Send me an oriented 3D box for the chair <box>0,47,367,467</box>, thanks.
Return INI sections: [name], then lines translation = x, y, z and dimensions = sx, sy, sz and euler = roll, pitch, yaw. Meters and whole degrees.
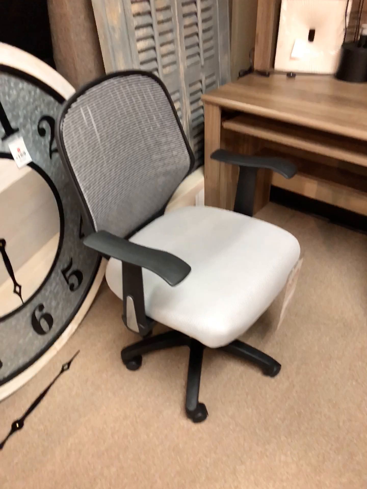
[chair]
translation = 0.030, -0.017, 1.173
dimensions = 0.672, 0.864, 0.612
euler = 22, 44, 30
